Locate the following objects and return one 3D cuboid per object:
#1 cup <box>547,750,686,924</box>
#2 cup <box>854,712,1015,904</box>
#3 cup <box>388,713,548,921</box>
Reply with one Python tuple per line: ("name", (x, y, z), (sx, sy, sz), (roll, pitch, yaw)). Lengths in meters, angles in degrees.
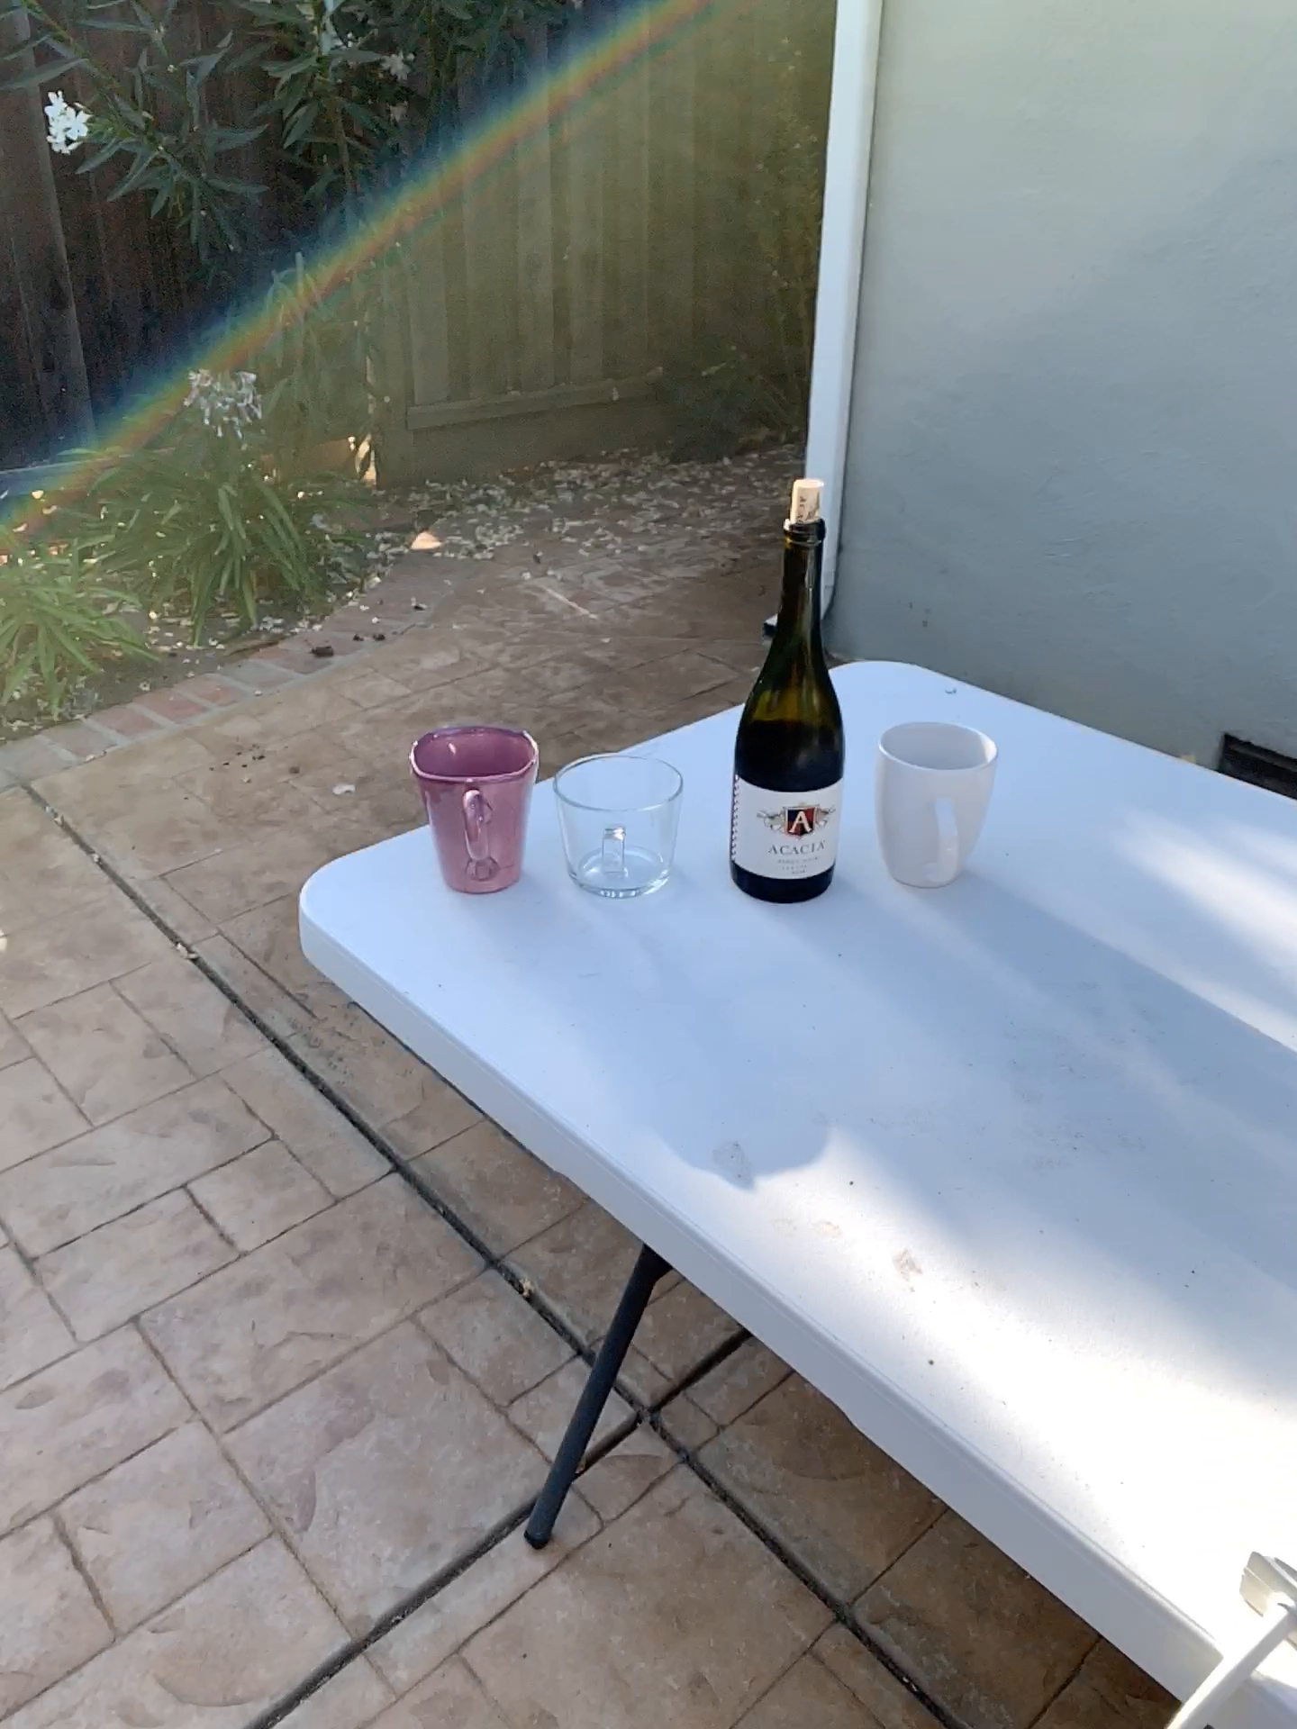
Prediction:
("cup", (-0.022, -0.024, 1.030), (0.100, 0.080, 0.131), (1, 30, 0))
("cup", (0.213, -0.045, 1.011), (0.090, 0.099, 0.121), (1, 30, 0))
("cup", (-0.133, -0.039, 1.020), (0.100, 0.109, 0.131), (1, 30, 0))
